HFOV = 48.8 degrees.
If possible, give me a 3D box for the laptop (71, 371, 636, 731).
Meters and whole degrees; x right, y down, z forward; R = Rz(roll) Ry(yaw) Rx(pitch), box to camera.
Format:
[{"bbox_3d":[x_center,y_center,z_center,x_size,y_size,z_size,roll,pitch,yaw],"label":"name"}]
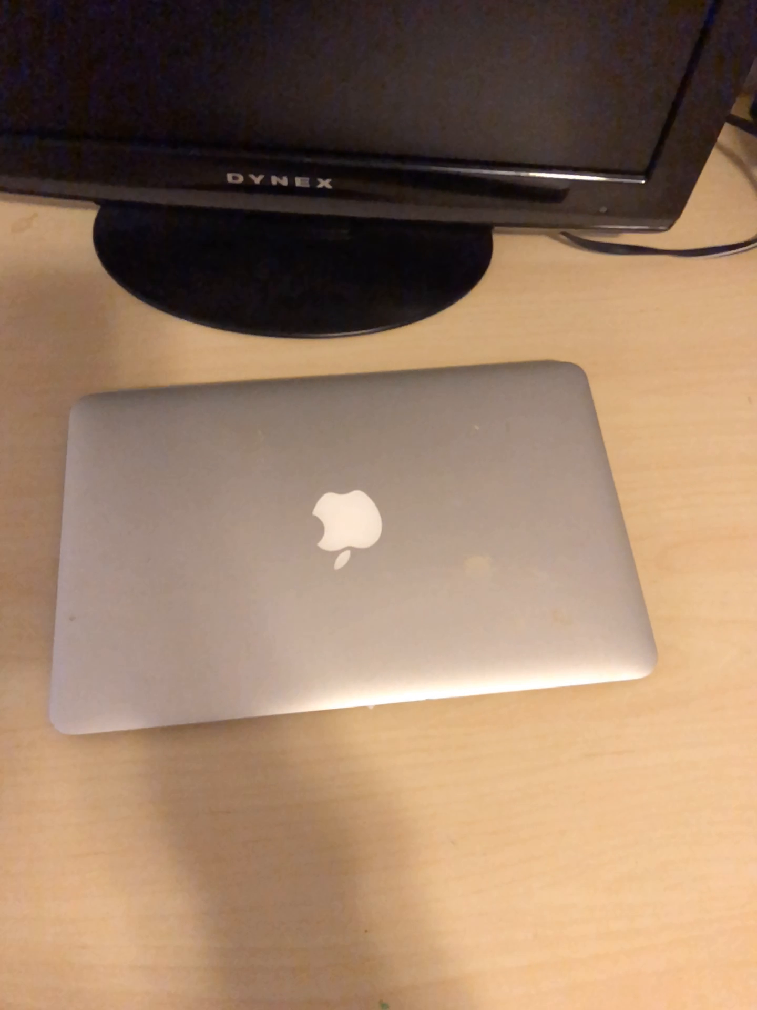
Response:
[{"bbox_3d":[-0.017,0.014,0.450,0.278,0.005,0.181,-5,65,-5],"label":"laptop"}]
